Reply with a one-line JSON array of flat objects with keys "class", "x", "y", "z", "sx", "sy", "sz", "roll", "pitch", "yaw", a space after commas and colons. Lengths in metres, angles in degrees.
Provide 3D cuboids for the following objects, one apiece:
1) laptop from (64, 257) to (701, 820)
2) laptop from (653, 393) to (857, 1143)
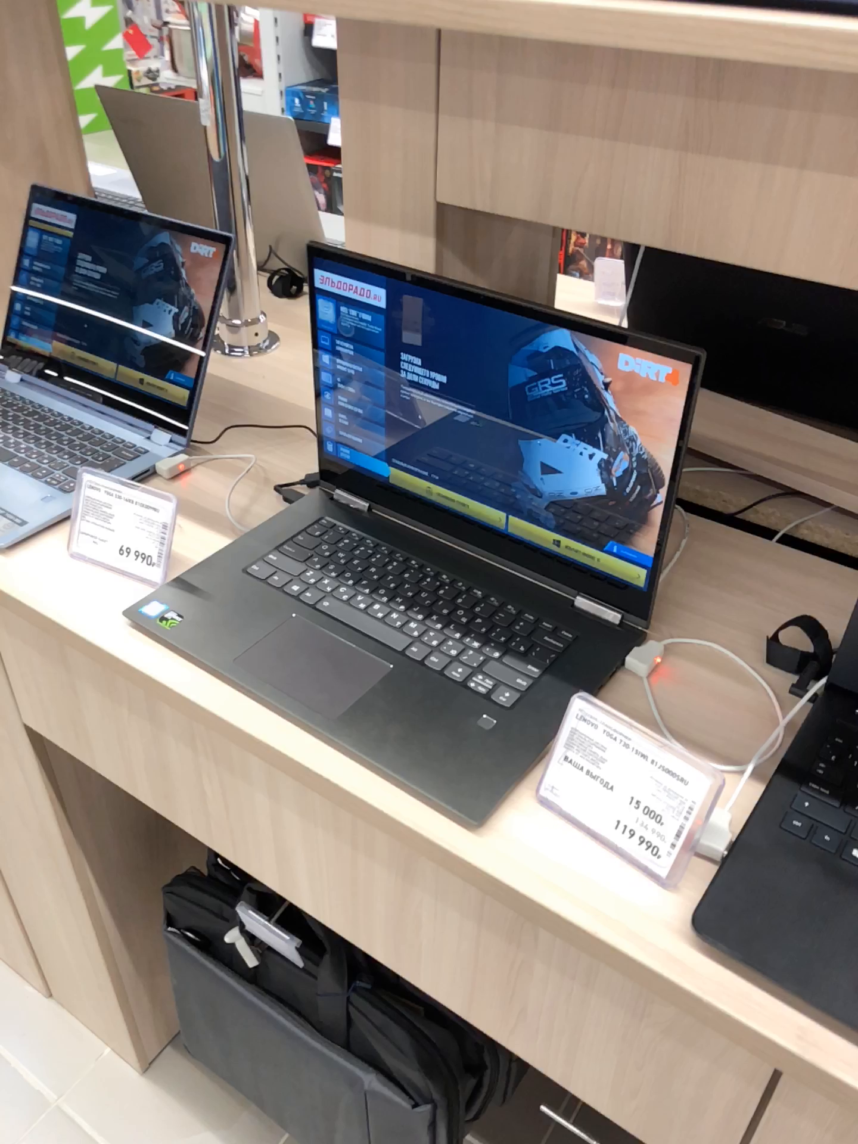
[{"class": "laptop", "x": -0.038, "y": -0.055, "z": 0.723, "sx": 0.359, "sy": 0.240, "sz": 0.252, "roll": 24, "pitch": 42, "yaw": 30}, {"class": "laptop", "x": 0.366, "y": 0.082, "z": 0.496, "sx": 0.306, "sy": 0.238, "sz": 0.309, "roll": 26, "pitch": 40, "yaw": 36}]
